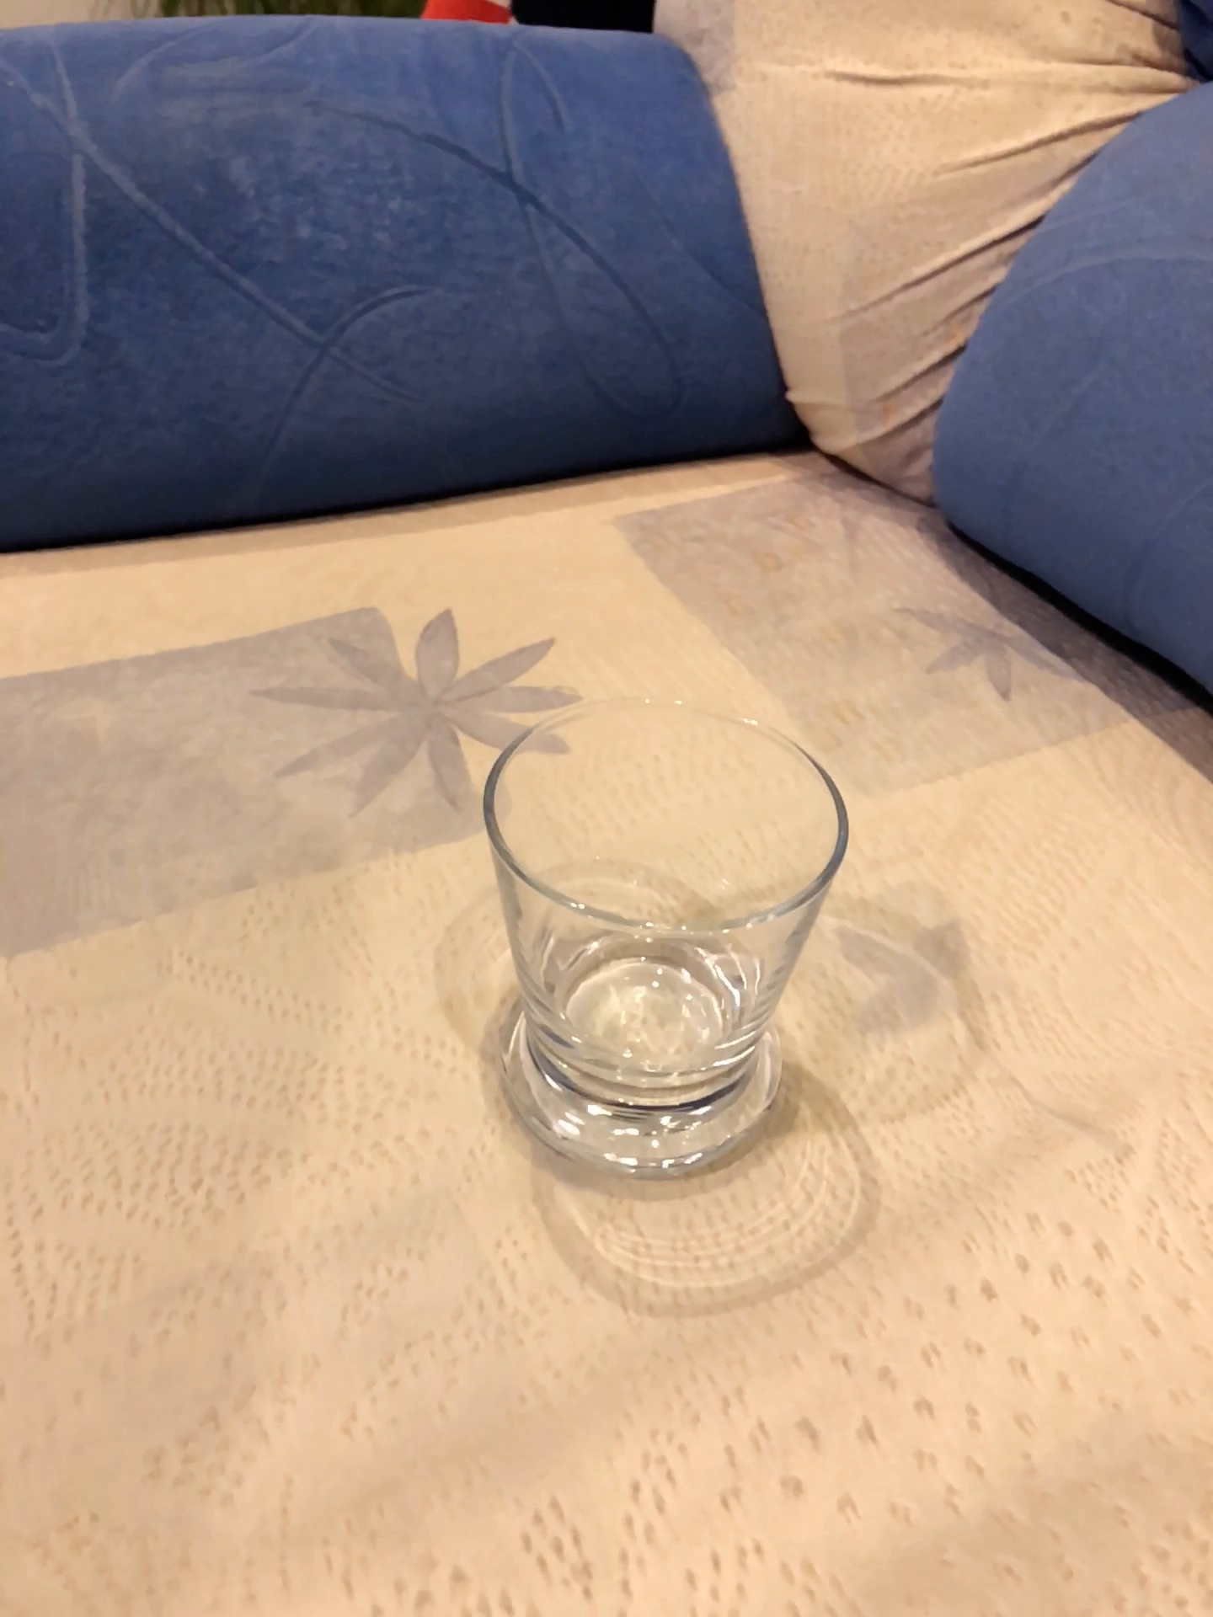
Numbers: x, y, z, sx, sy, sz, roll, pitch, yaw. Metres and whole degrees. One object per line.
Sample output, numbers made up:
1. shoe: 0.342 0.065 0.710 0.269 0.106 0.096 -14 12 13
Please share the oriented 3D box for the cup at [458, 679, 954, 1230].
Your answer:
1. cup: 0.016 0.031 0.321 0.086 0.083 0.085 2 37 -2
